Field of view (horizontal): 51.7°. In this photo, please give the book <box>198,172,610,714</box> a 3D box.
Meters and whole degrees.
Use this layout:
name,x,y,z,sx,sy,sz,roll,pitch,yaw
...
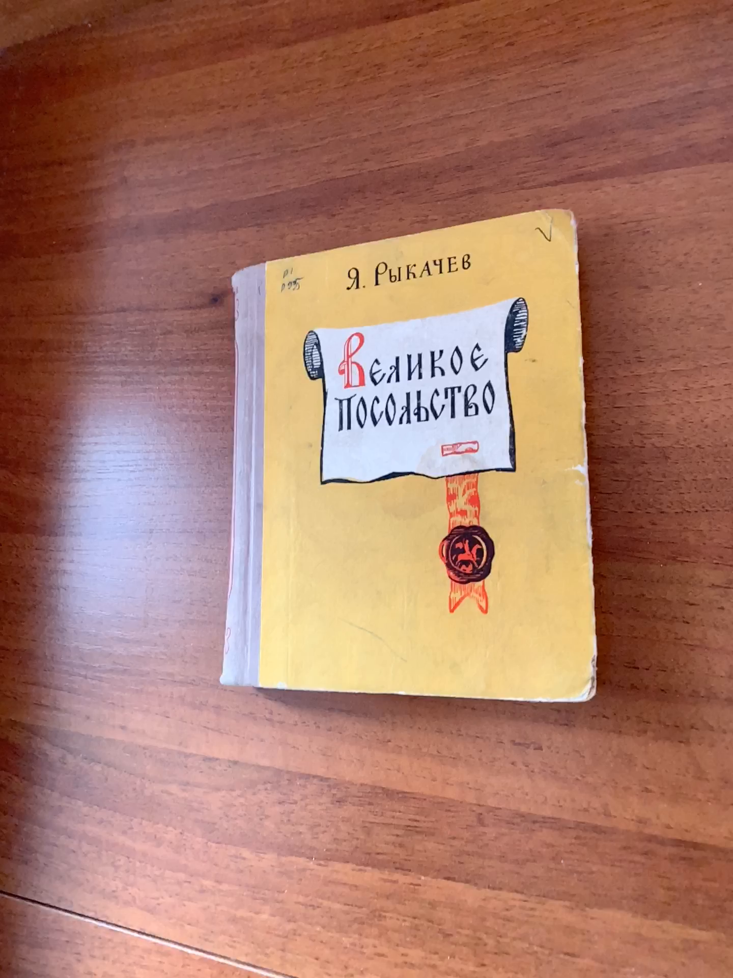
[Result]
name,x,y,z,sx,sy,sz,roll,pitch,yaw
book,0.009,-0.014,0.271,0.142,0.023,0.170,-2,82,21
